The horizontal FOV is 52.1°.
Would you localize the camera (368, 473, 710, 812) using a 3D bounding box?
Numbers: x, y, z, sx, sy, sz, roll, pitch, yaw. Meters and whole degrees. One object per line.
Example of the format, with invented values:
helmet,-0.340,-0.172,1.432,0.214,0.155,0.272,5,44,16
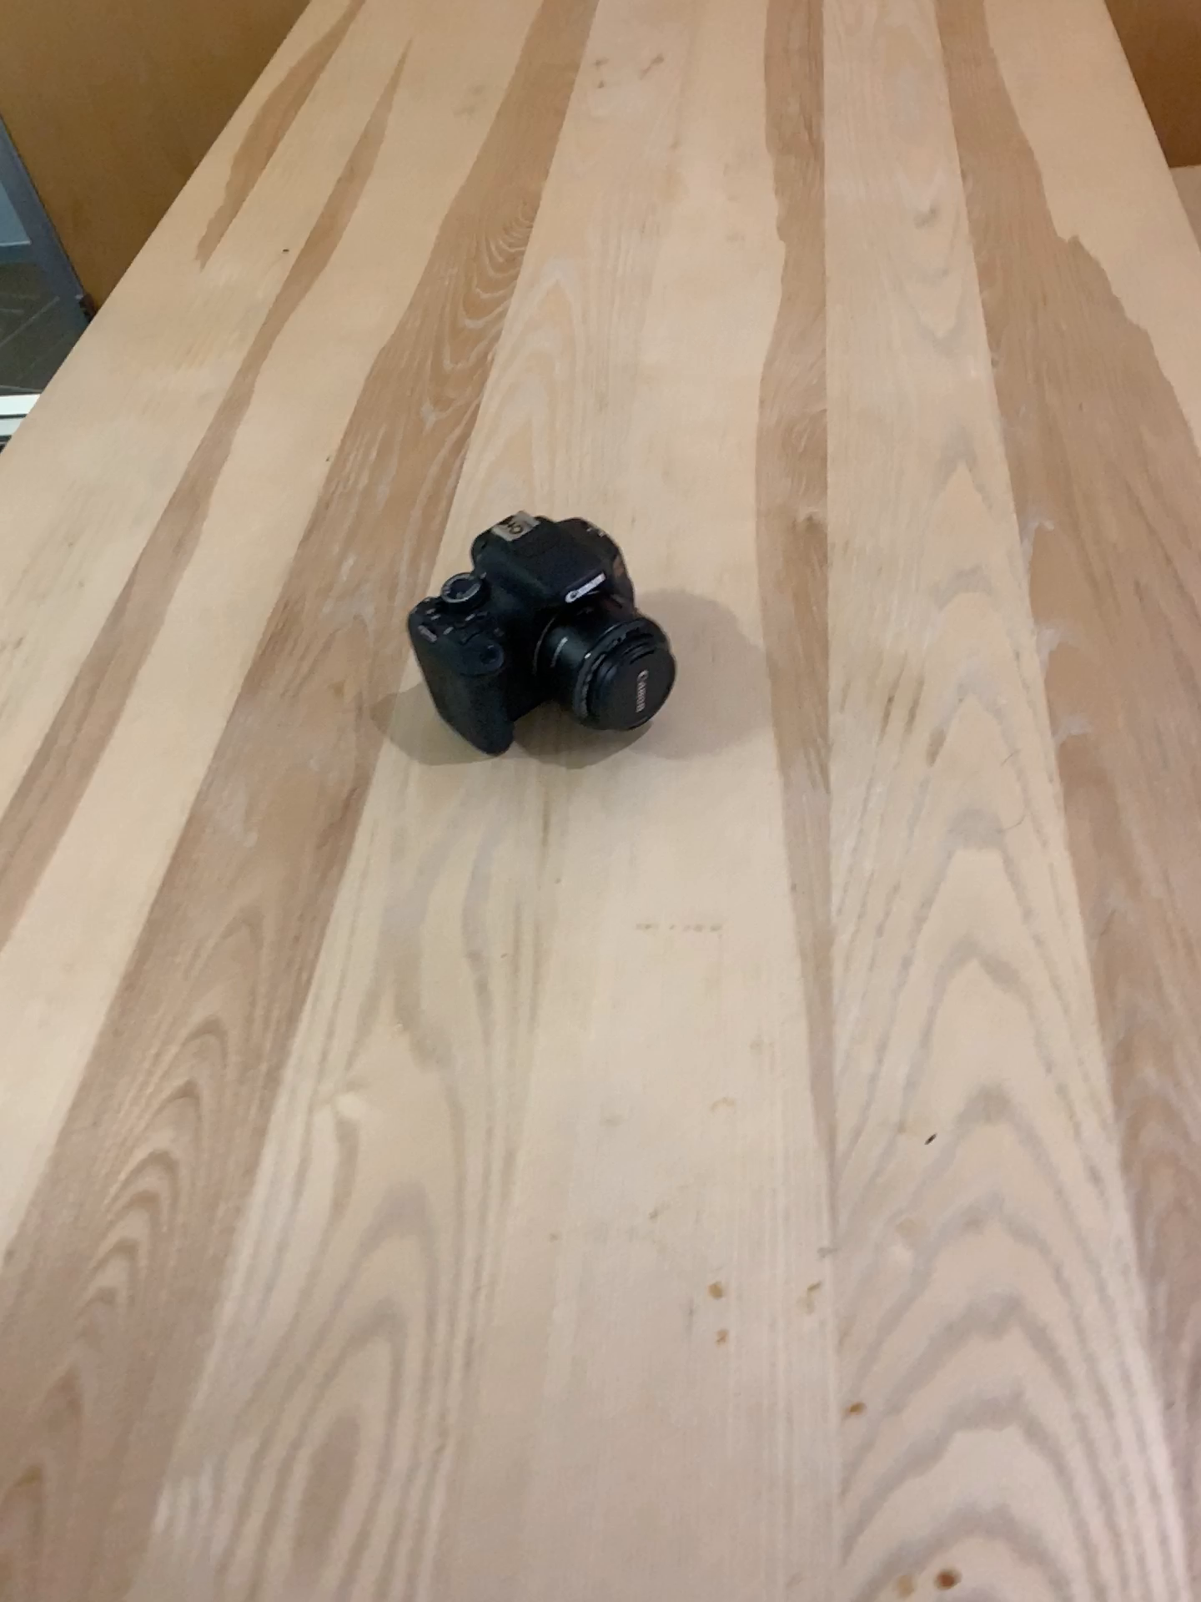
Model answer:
camera,-0.031,-0.091,0.685,0.127,0.089,0.127,-36,54,-19
